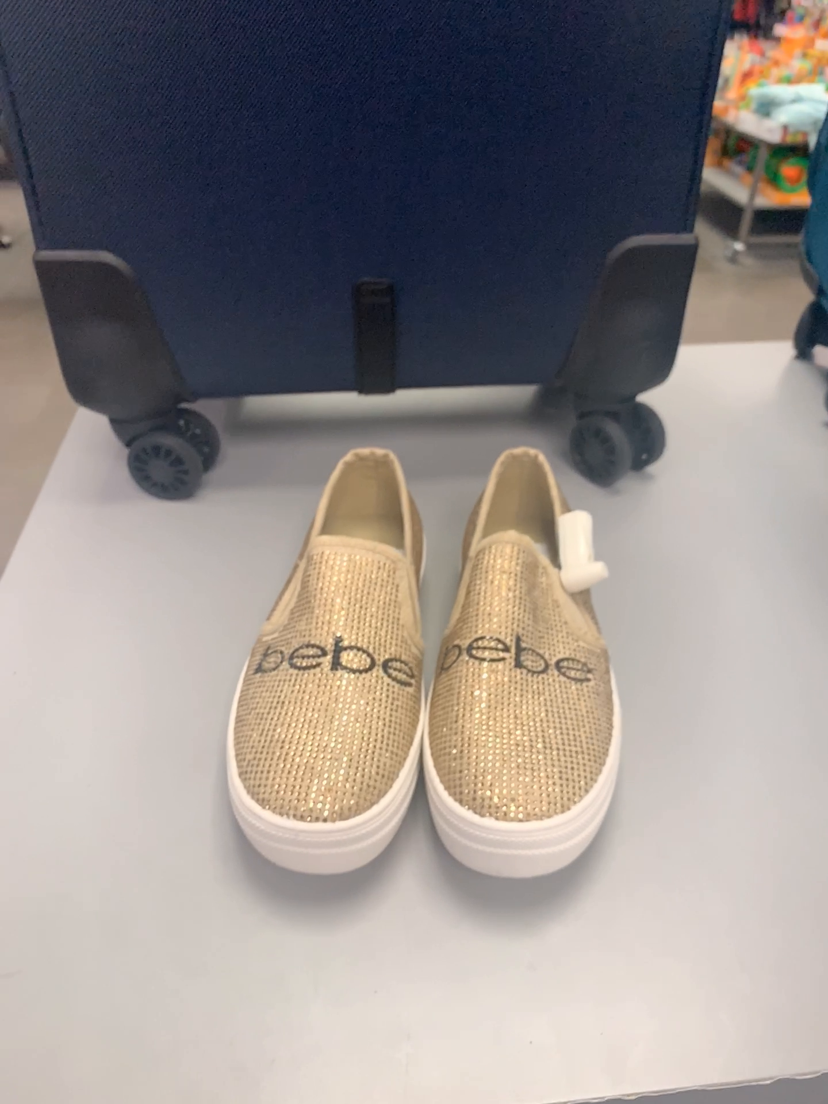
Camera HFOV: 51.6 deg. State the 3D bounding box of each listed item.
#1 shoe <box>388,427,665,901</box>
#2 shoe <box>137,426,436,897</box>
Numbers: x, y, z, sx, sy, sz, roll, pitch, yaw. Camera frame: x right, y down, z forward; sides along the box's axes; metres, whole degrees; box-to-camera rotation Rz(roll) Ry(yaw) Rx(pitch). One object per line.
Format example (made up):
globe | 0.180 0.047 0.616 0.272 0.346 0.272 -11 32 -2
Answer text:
shoe | 0.045 0.035 0.404 0.093 0.086 0.223 1 38 4
shoe | -0.041 0.034 0.406 0.093 0.086 0.223 1 38 4
